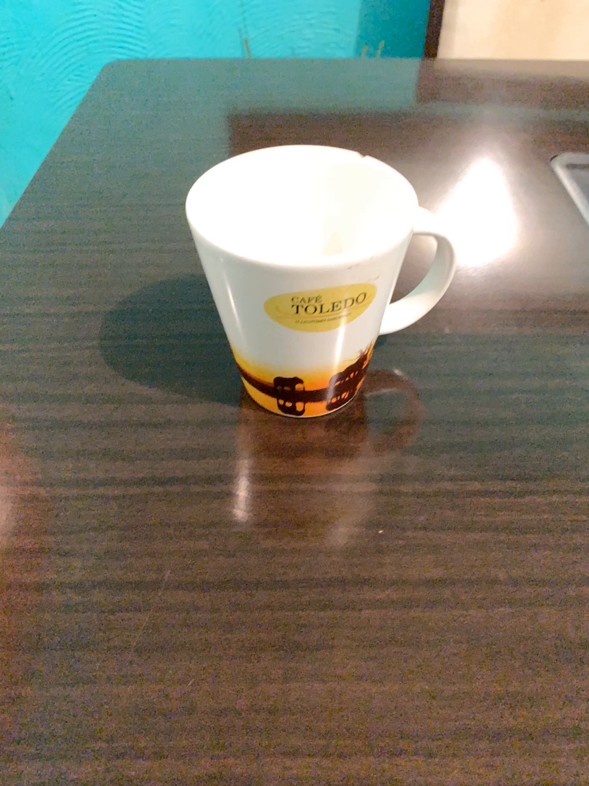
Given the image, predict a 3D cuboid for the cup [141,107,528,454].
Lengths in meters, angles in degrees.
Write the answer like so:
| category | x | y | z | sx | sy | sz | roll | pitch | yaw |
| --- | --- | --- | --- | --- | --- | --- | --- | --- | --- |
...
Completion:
| category | x | y | z | sx | sy | sz | roll | pitch | yaw |
| --- | --- | --- | --- | --- | --- | --- | --- | --- | --- |
| cup | 0.008 | -0.048 | 0.241 | 0.110 | 0.080 | 0.090 | -13 | 47 | -12 |
